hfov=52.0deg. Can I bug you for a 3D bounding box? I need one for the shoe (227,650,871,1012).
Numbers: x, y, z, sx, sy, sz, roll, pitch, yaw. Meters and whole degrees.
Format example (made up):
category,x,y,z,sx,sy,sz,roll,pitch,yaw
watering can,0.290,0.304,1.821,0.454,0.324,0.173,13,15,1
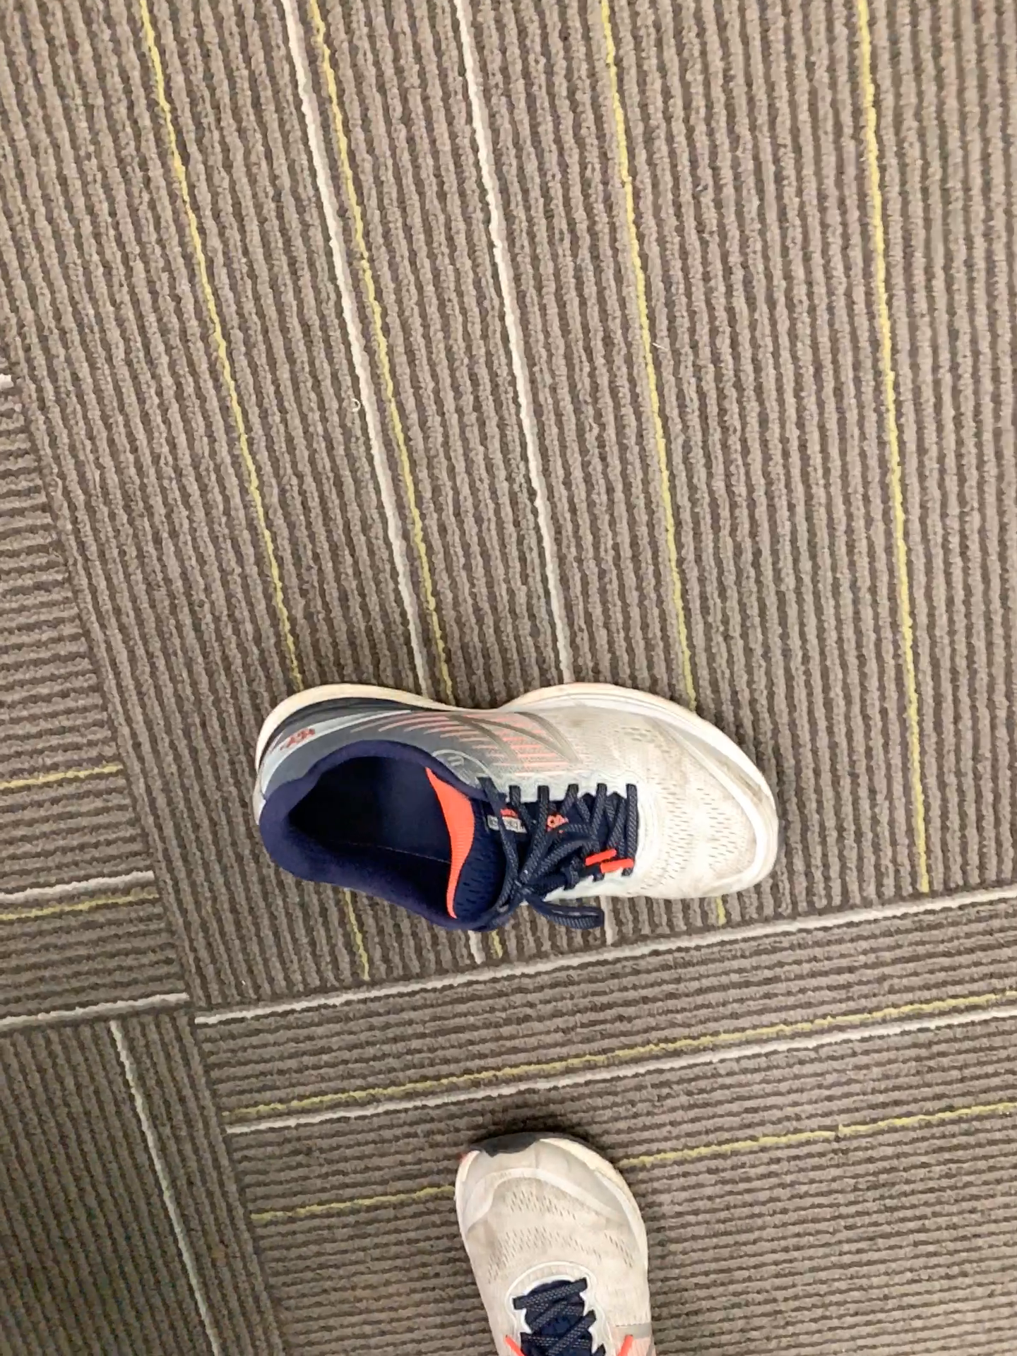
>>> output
category,x,y,z,sx,sy,sz,roll,pitch,yaw
shoe,0.013,0.066,0.495,0.260,0.120,0.110,5,106,-1
